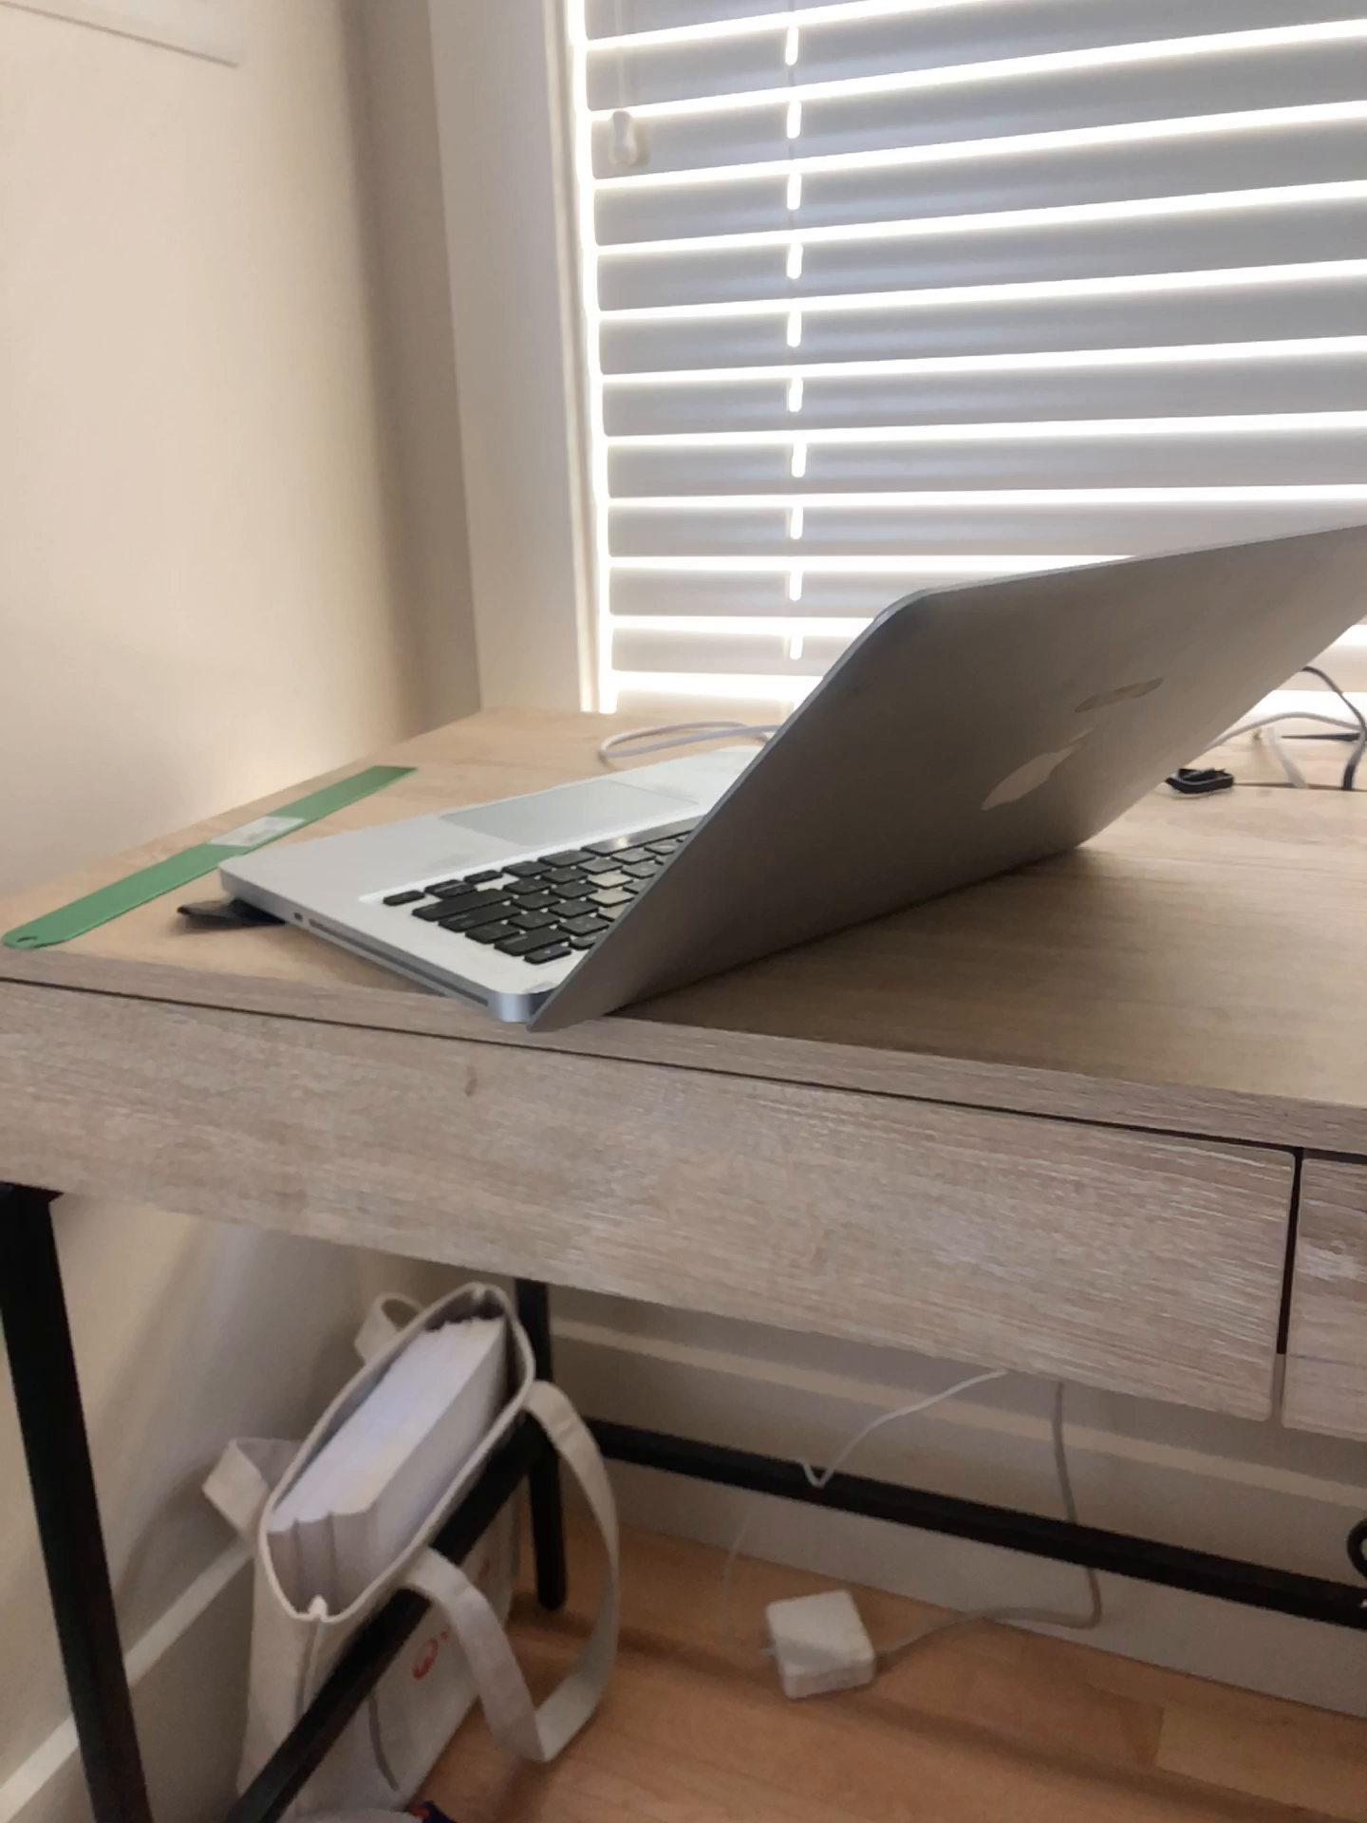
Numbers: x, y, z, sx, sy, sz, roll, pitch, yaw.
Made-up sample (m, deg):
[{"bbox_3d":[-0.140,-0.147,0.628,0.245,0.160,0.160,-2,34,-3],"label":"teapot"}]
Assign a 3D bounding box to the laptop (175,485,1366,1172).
[{"bbox_3d":[0.043,-0.077,0.582,0.321,0.133,0.346,-18,26,-39],"label":"laptop"}]
